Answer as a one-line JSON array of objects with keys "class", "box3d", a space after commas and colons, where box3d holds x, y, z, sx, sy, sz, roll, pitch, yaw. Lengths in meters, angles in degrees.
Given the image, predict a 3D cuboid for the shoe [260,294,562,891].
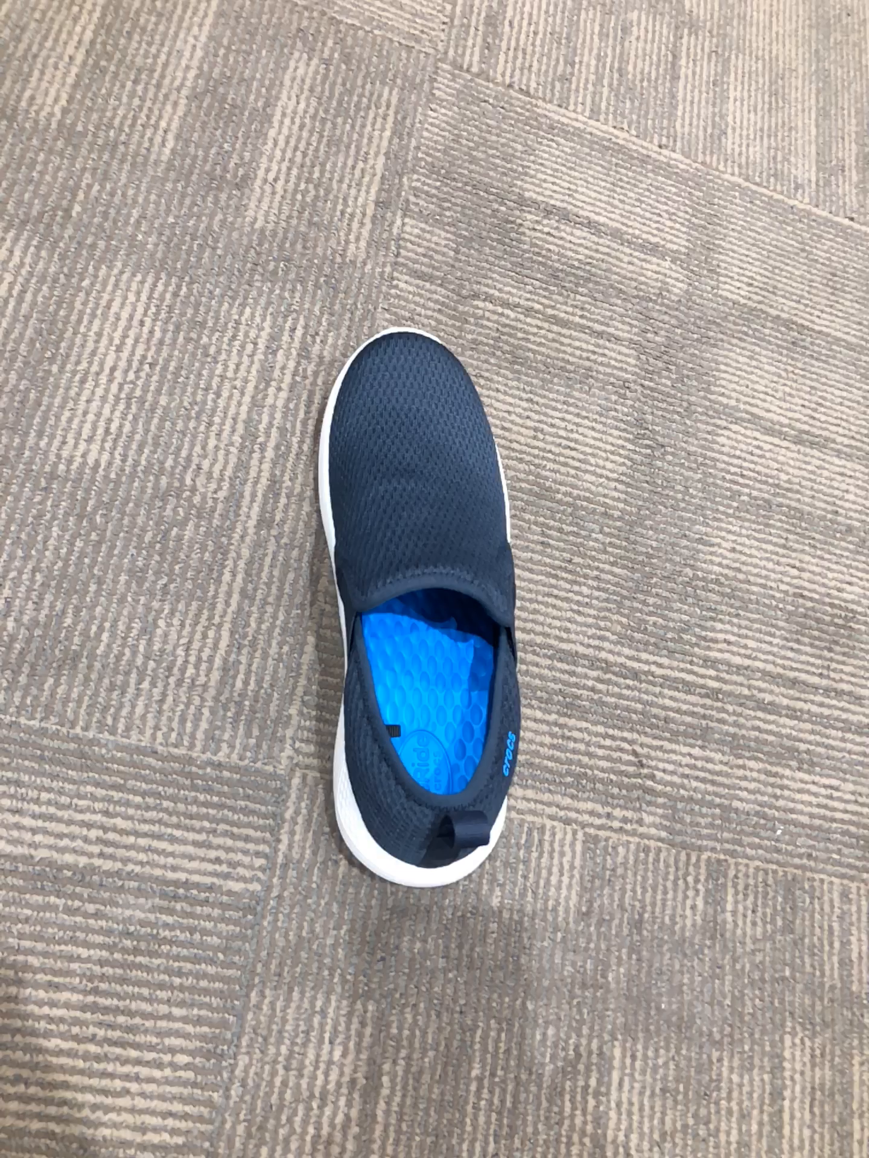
[{"class": "shoe", "box3d": [-0.013, 0.014, 0.487, 0.110, 0.119, 0.271, 8, 69, -16]}]
